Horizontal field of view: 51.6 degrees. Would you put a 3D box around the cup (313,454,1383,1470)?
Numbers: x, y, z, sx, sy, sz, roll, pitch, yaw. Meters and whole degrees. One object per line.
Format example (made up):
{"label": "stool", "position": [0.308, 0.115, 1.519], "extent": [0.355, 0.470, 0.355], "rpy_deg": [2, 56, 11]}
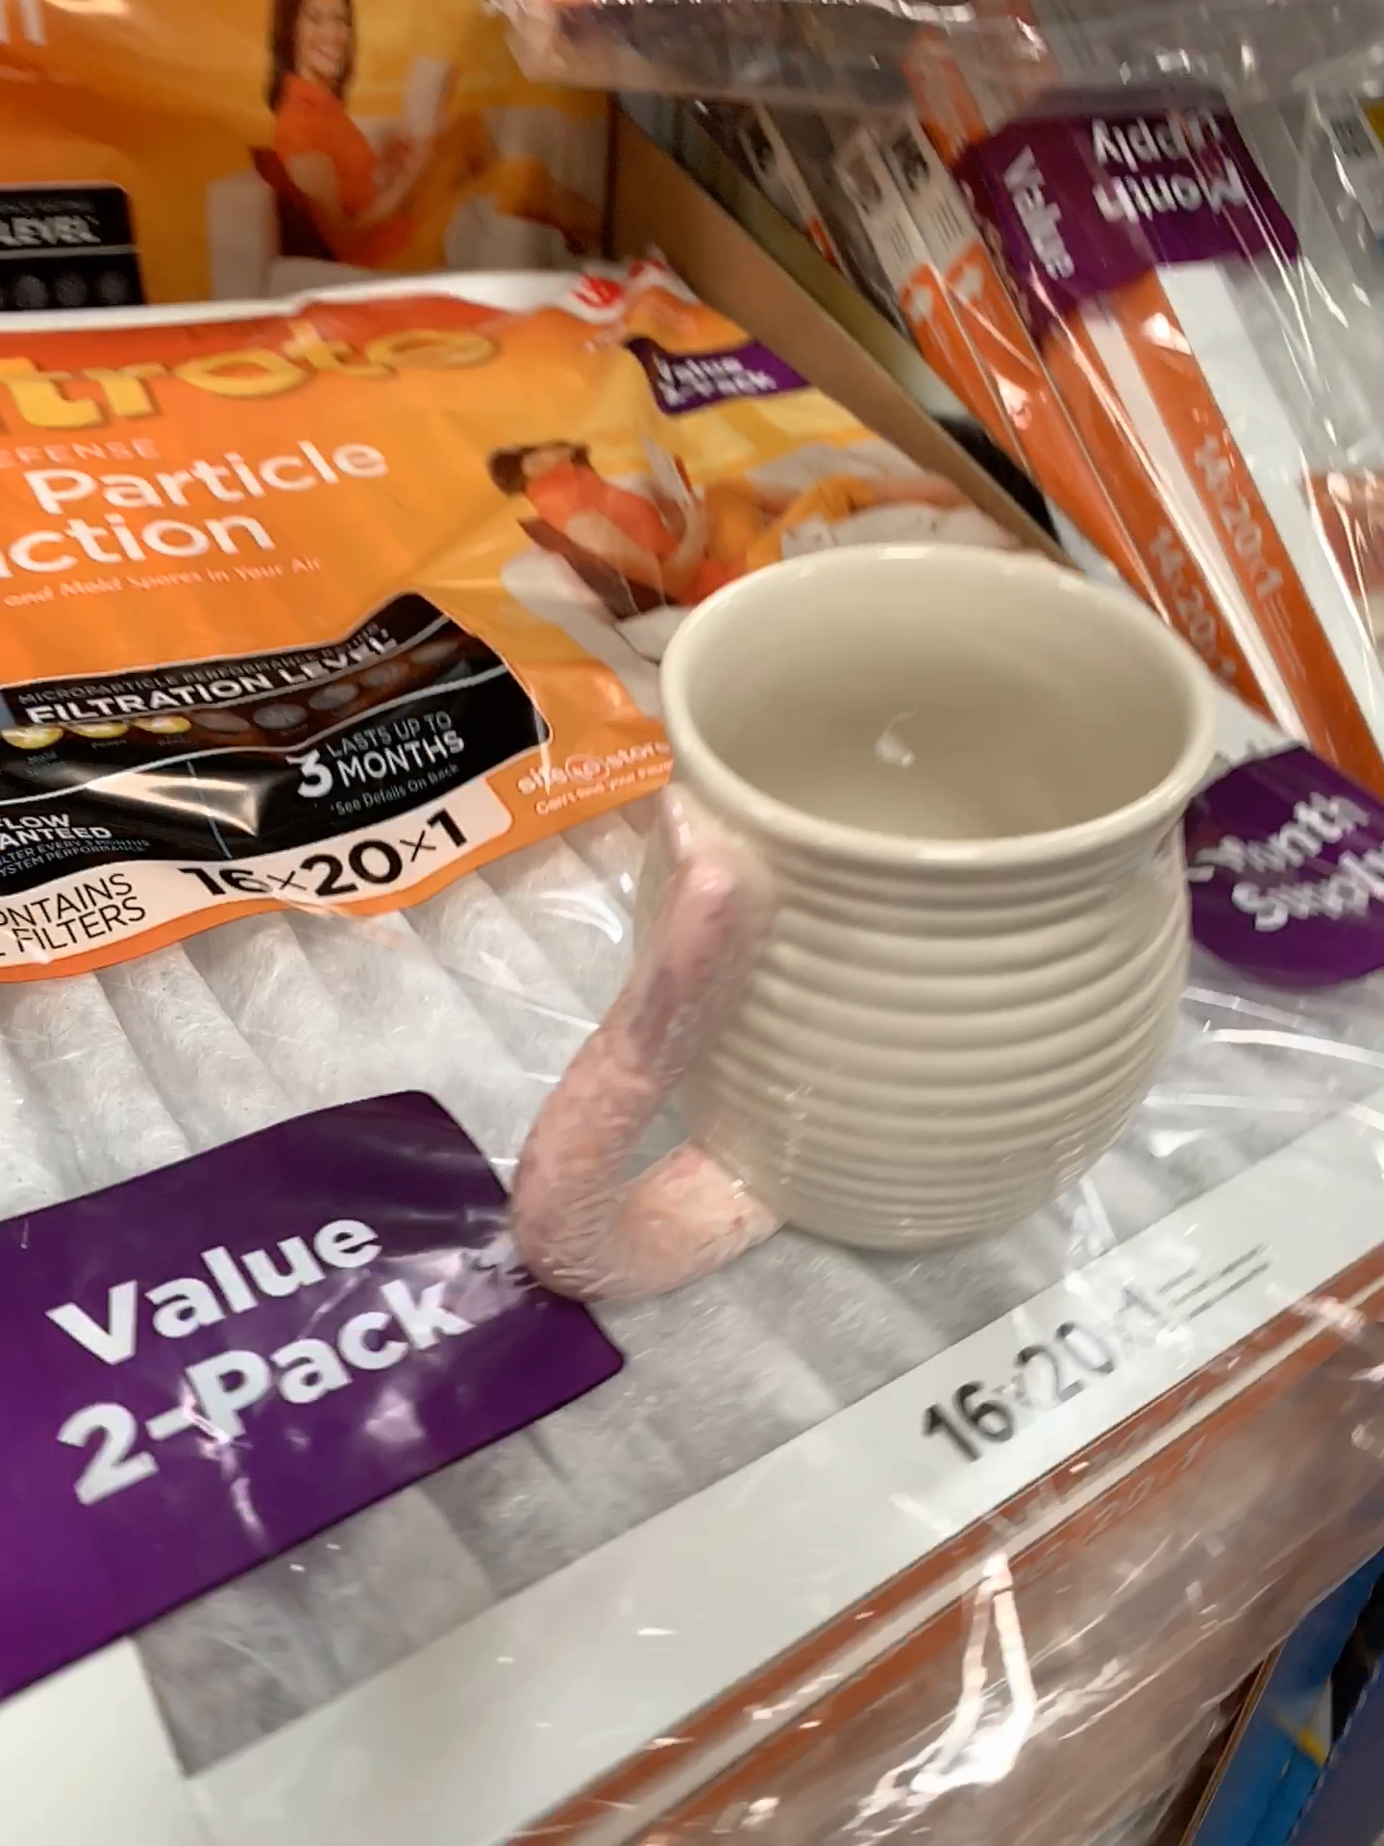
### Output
{"label": "cup", "position": [0.027, -0.004, 0.244], "extent": [0.141, 0.089, 0.100], "rpy_deg": [-21, 47, -24]}
